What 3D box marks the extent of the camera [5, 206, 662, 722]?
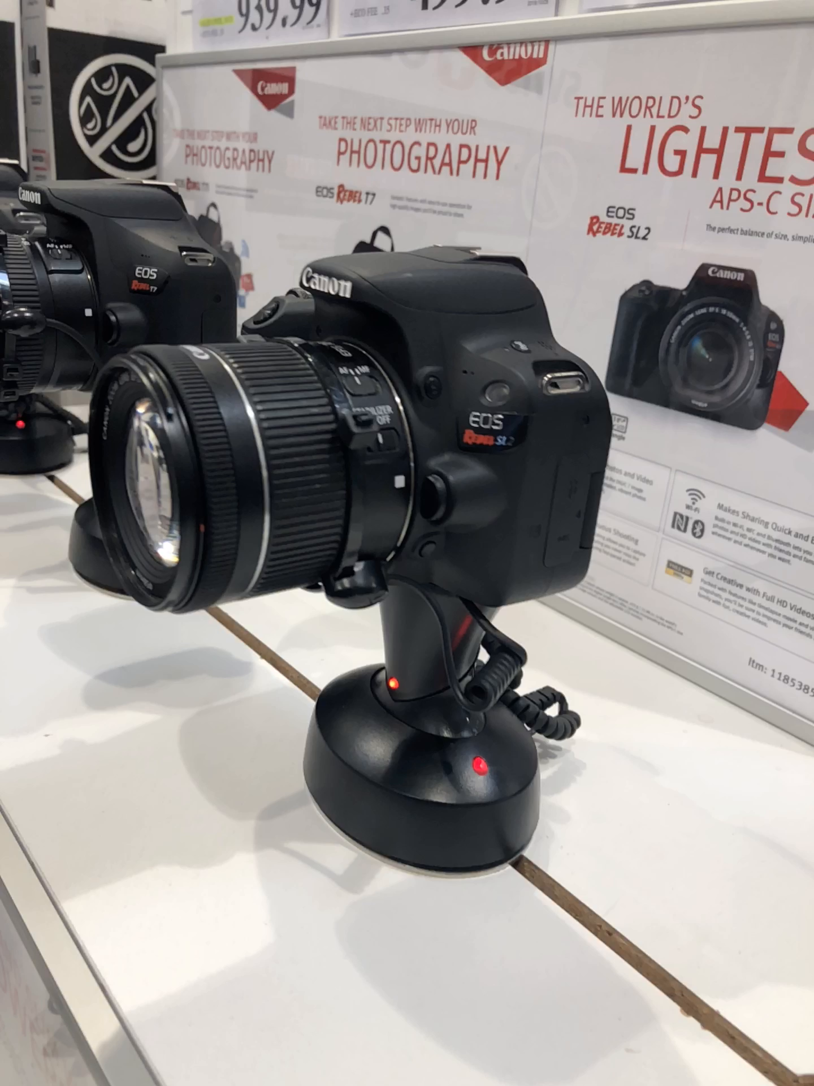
[{"bbox_3d":[-0.028,-0.037,0.249,0.120,0.090,0.131,-10,26,-35],"label":"camera"}]
